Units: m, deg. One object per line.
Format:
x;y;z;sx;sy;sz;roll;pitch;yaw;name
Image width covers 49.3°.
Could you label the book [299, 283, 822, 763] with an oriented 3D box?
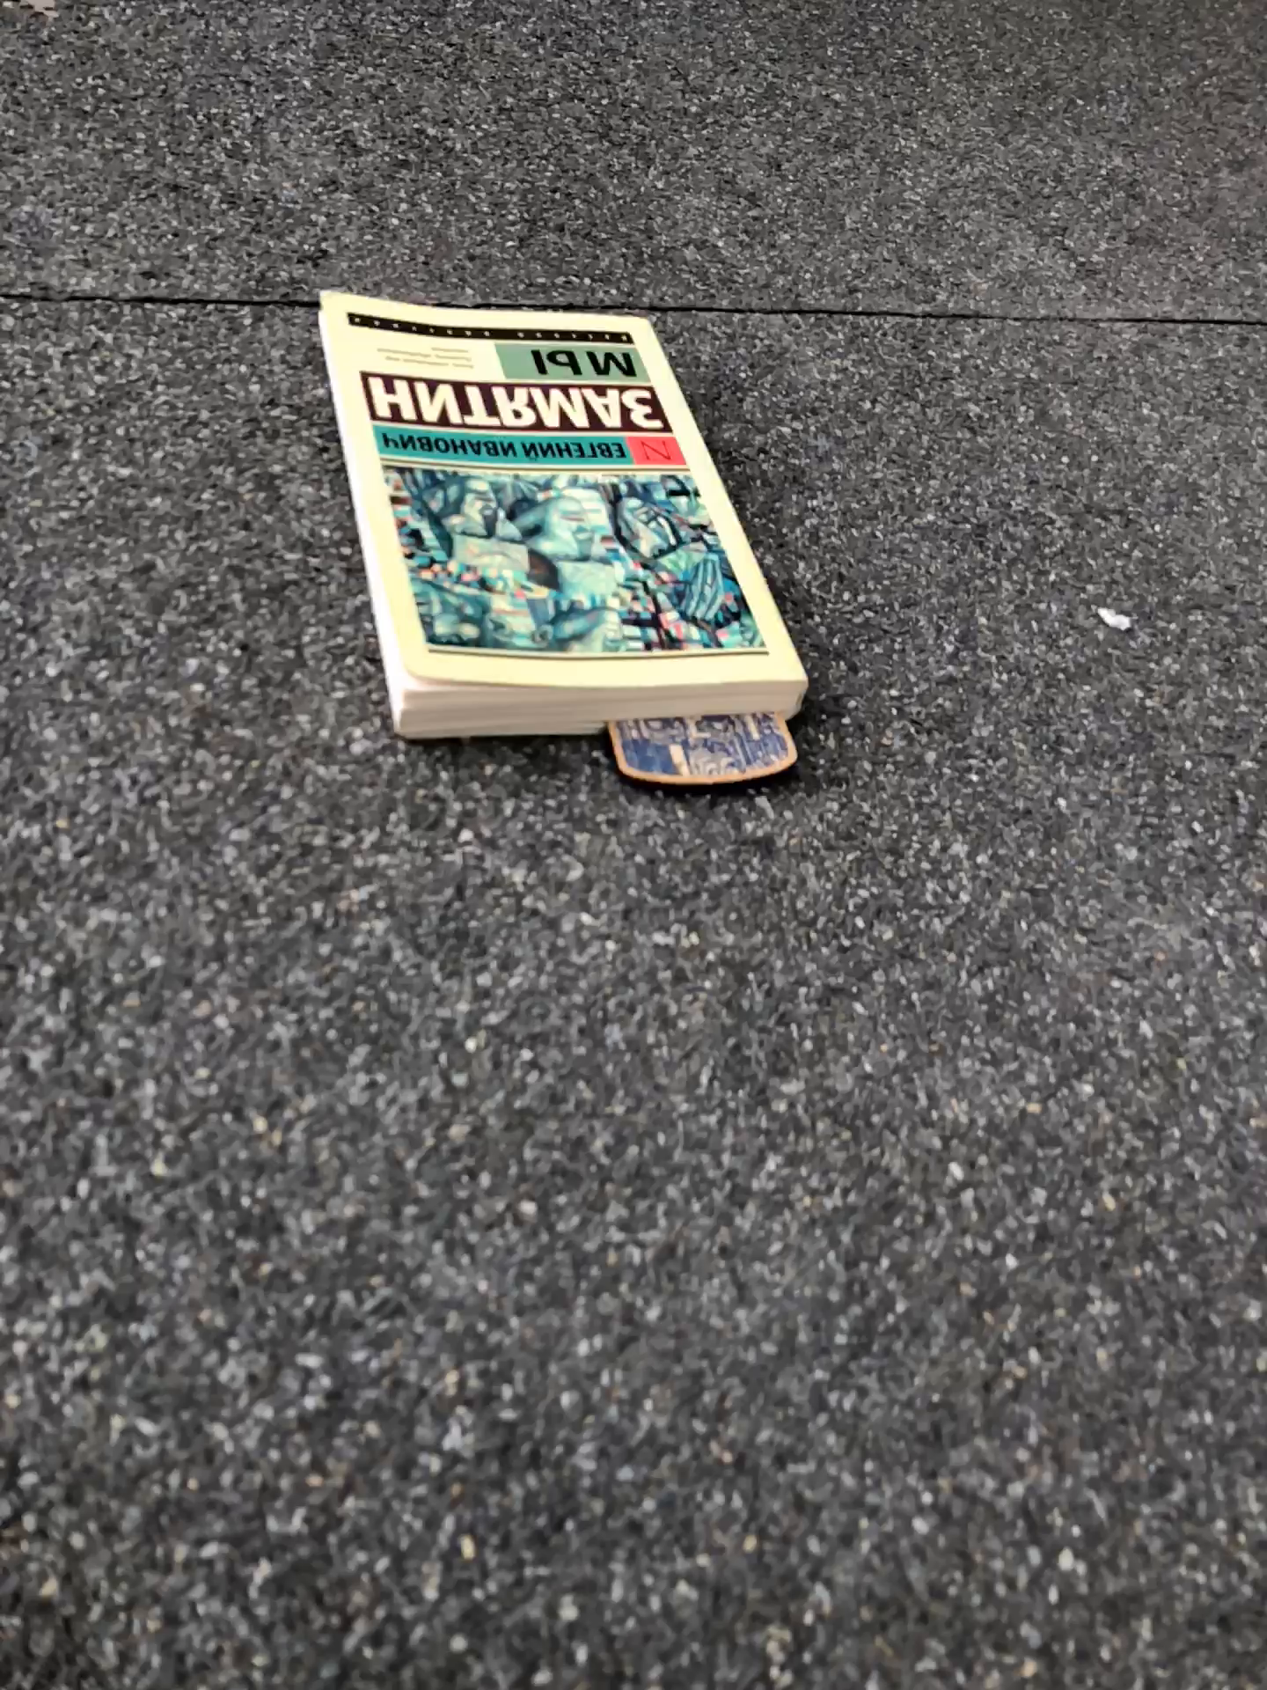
-0.030;-0.104;0.418;0.120;0.026;0.182;-4;53;-18;book
